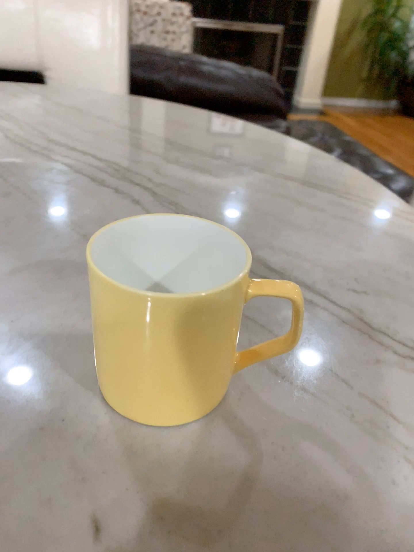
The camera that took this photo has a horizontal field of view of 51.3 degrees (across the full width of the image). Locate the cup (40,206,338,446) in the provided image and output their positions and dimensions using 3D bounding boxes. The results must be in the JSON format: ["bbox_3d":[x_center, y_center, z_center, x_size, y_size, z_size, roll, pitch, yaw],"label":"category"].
[{"bbox_3d":[-0.008,0.021,0.208,0.109,0.074,0.075,6,33,0],"label":"cup"}]
